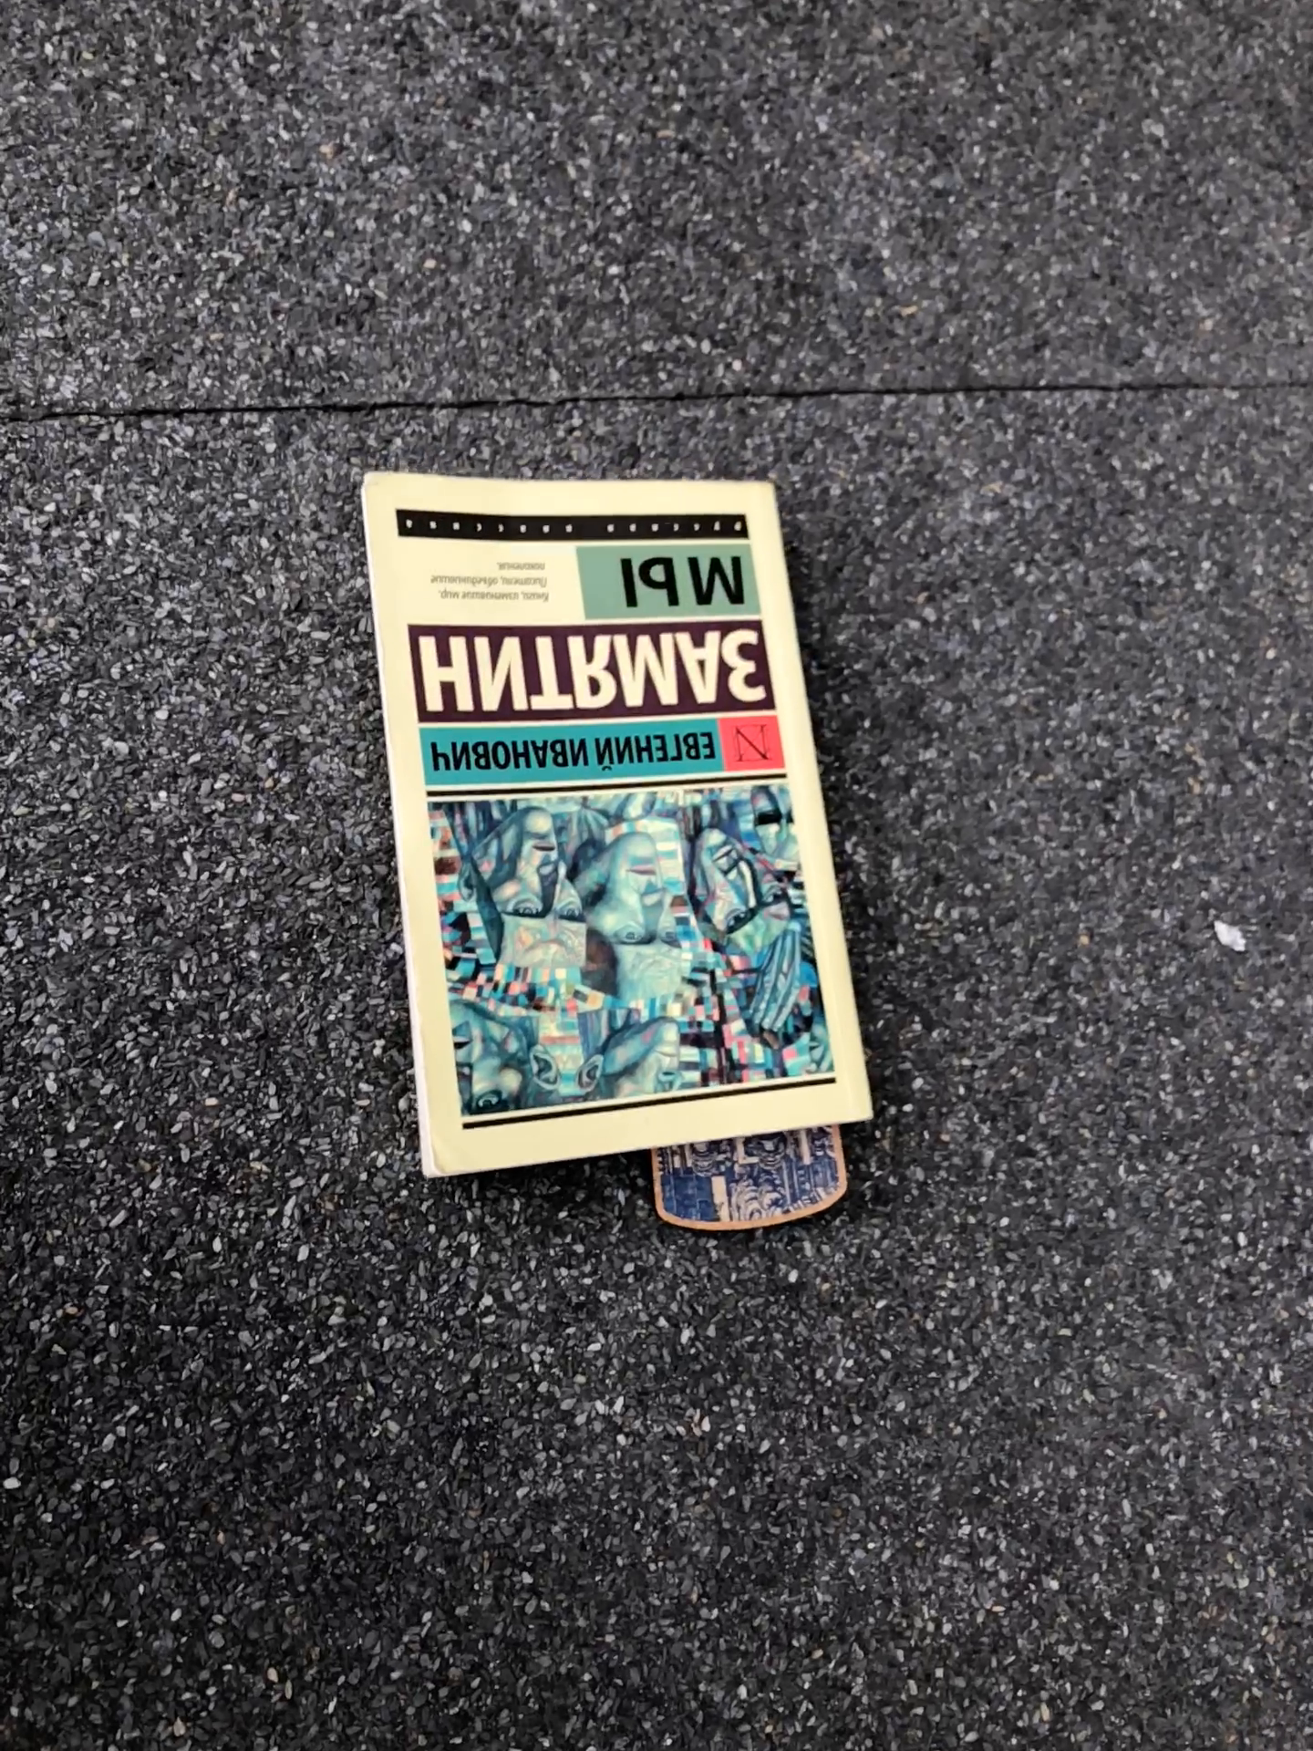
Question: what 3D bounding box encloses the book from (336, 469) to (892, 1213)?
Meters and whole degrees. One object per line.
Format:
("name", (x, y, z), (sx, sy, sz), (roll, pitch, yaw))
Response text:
("book", (-0.014, -0.014, 0.374), (0.120, 0.027, 0.182), (-4, 78, -17))
